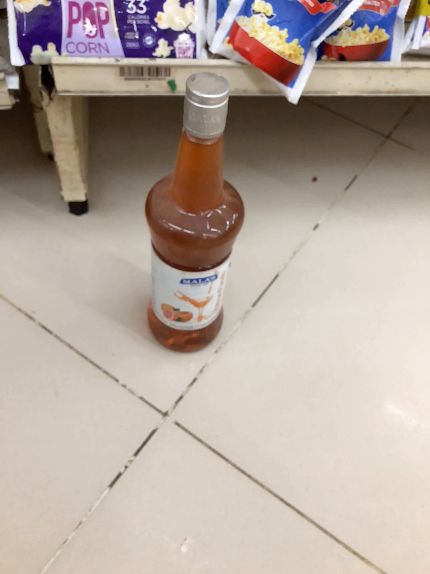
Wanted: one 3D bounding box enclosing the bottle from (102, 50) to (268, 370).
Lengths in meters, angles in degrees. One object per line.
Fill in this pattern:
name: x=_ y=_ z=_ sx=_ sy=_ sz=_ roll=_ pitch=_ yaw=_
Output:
bottle: x=-0.032 y=-0.040 z=0.420 sx=0.090 sy=0.288 sz=0.090 roll=2 pitch=54 yaw=-3
